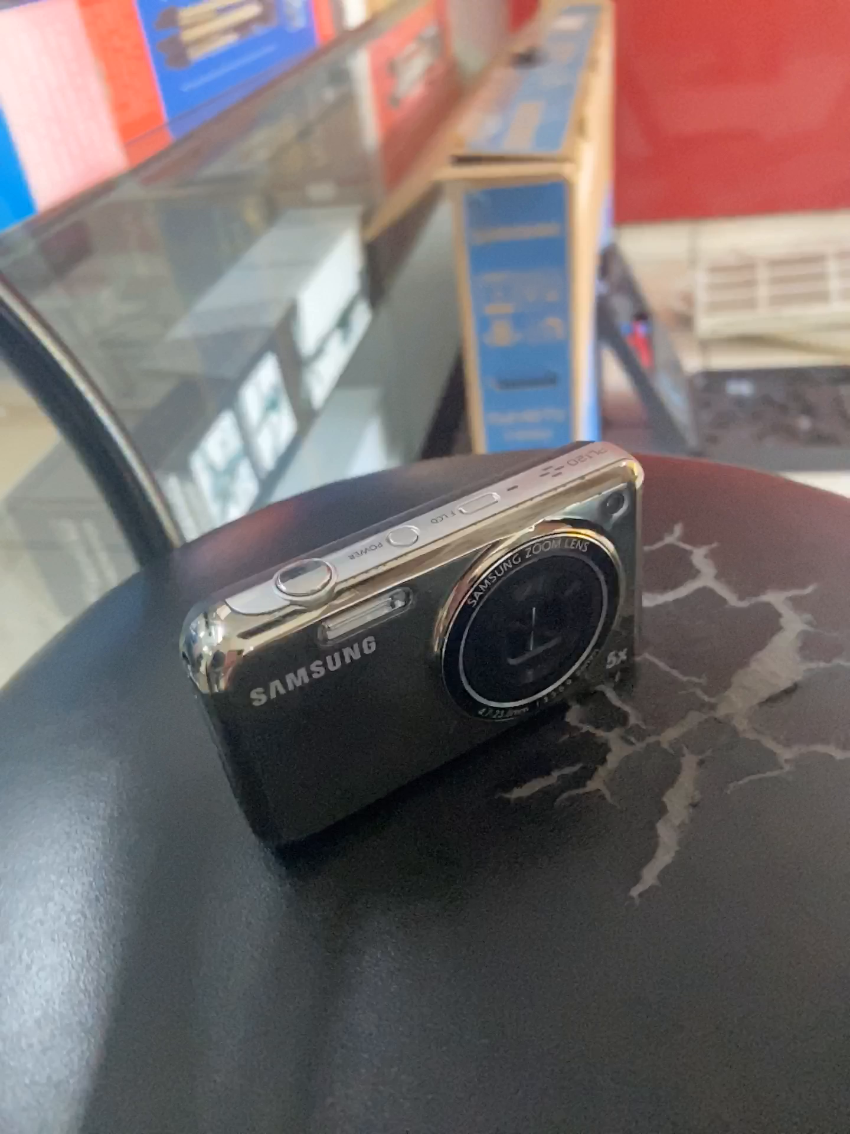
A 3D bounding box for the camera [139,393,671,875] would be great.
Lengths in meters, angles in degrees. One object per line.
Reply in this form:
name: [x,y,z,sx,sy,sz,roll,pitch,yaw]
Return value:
camera: [0.001,0.012,0.188,0.100,0.060,0.030,-24,39,-19]
